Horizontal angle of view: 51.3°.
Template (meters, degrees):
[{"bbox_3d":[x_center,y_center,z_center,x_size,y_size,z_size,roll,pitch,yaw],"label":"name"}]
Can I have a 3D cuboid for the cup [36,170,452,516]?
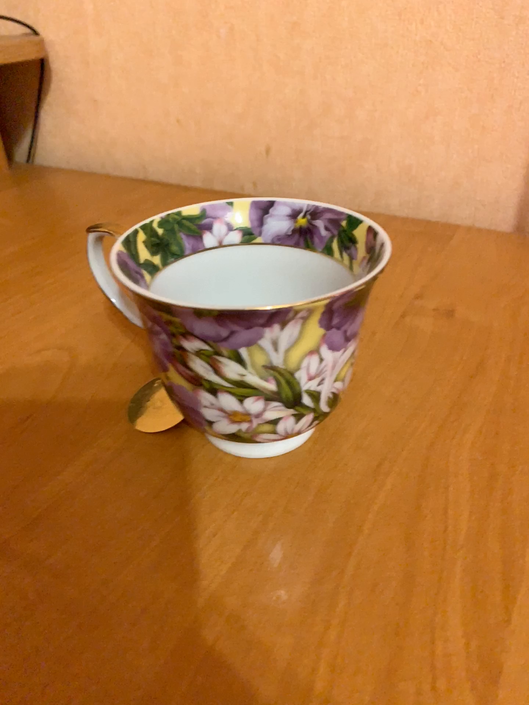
[{"bbox_3d":[-0.005,-0.014,0.194,0.109,0.069,0.077,17,37,27],"label":"cup"}]
